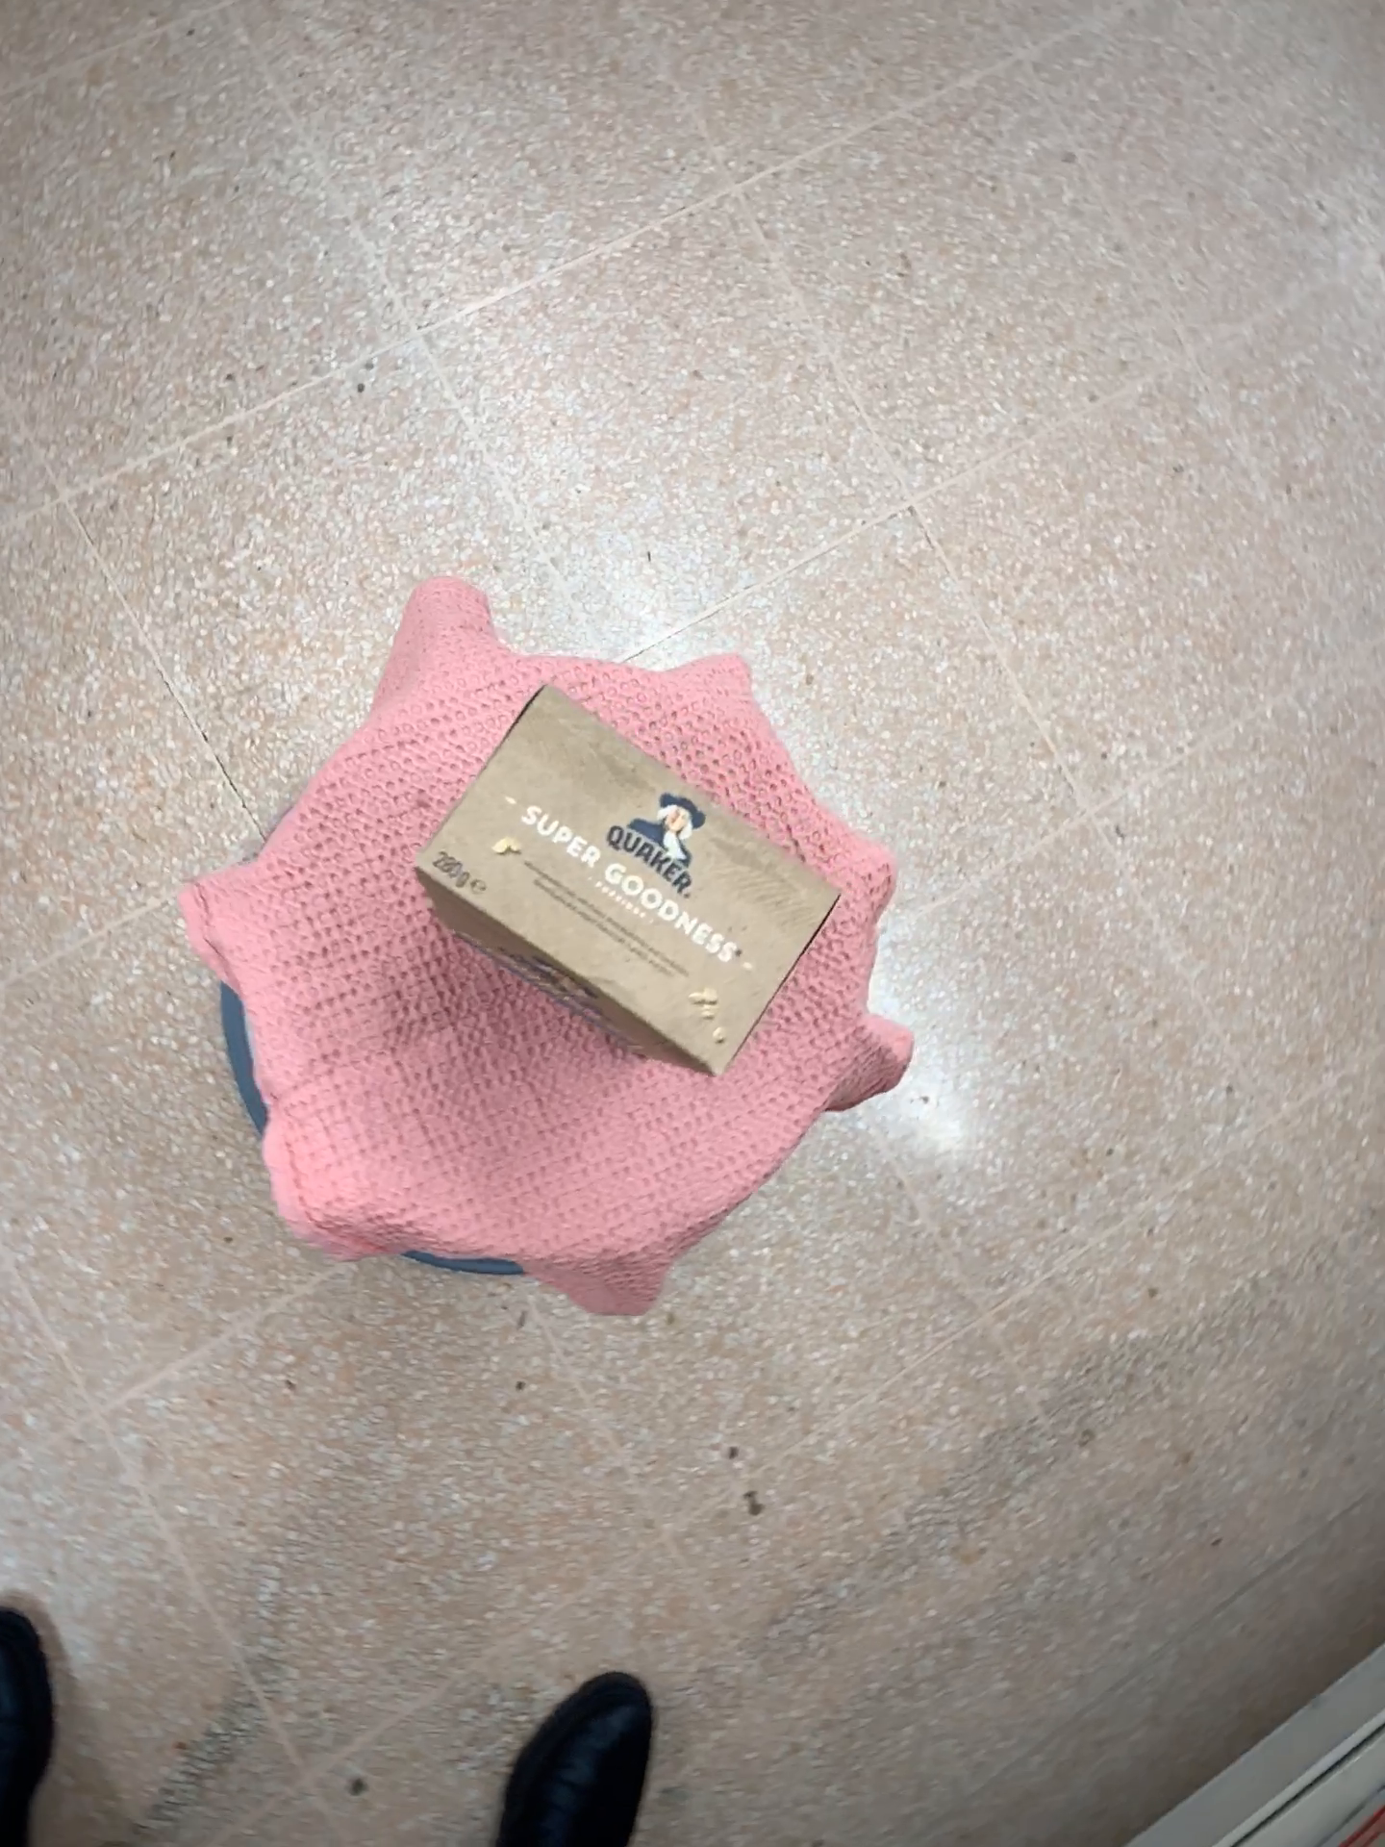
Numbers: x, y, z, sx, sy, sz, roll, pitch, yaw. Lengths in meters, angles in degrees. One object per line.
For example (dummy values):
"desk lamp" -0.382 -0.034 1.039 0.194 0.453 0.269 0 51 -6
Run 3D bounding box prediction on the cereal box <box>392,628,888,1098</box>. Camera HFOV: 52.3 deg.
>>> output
"cereal box" -0.032 -0.013 0.589 0.140 0.210 0.100 35 81 -5
